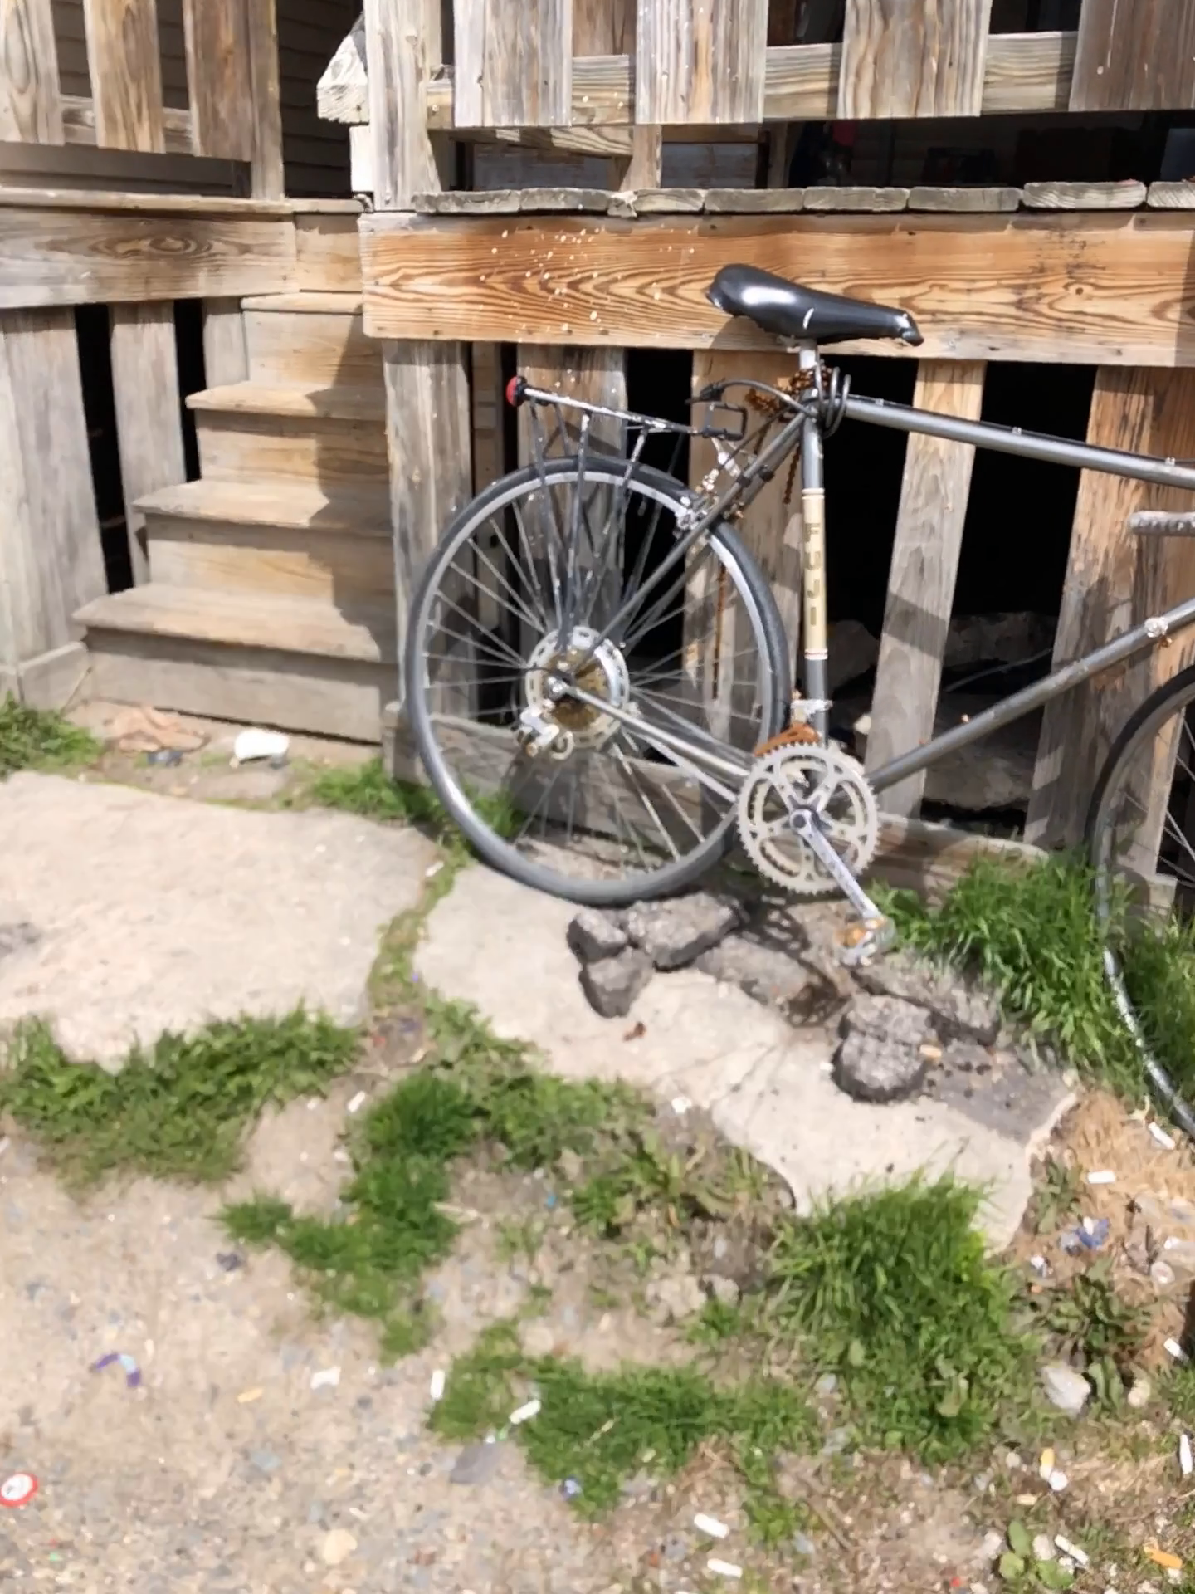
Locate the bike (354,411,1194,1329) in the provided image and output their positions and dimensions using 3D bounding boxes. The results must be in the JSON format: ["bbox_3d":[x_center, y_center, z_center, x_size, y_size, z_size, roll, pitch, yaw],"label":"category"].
[{"bbox_3d":[0.291,-0.074,1.346,1.203,0.479,0.400,19,27,36],"label":"bike"}]
